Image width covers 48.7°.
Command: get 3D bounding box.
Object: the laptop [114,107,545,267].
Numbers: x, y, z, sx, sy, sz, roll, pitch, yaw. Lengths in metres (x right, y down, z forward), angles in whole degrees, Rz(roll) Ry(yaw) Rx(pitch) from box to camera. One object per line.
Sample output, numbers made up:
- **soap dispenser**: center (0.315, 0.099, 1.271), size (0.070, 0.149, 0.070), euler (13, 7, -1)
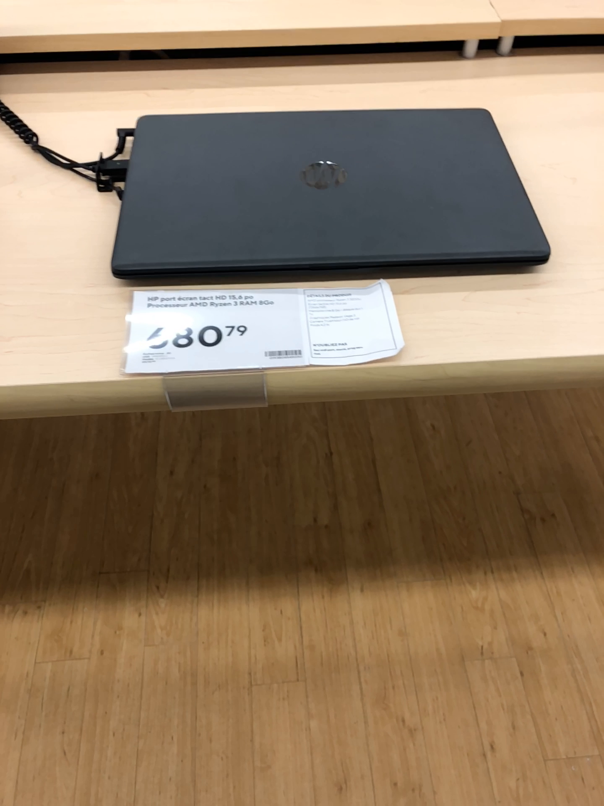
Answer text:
- **laptop**: center (0.020, -0.222, 0.654), size (0.373, 0.005, 0.245), euler (-3, 51, -3)
